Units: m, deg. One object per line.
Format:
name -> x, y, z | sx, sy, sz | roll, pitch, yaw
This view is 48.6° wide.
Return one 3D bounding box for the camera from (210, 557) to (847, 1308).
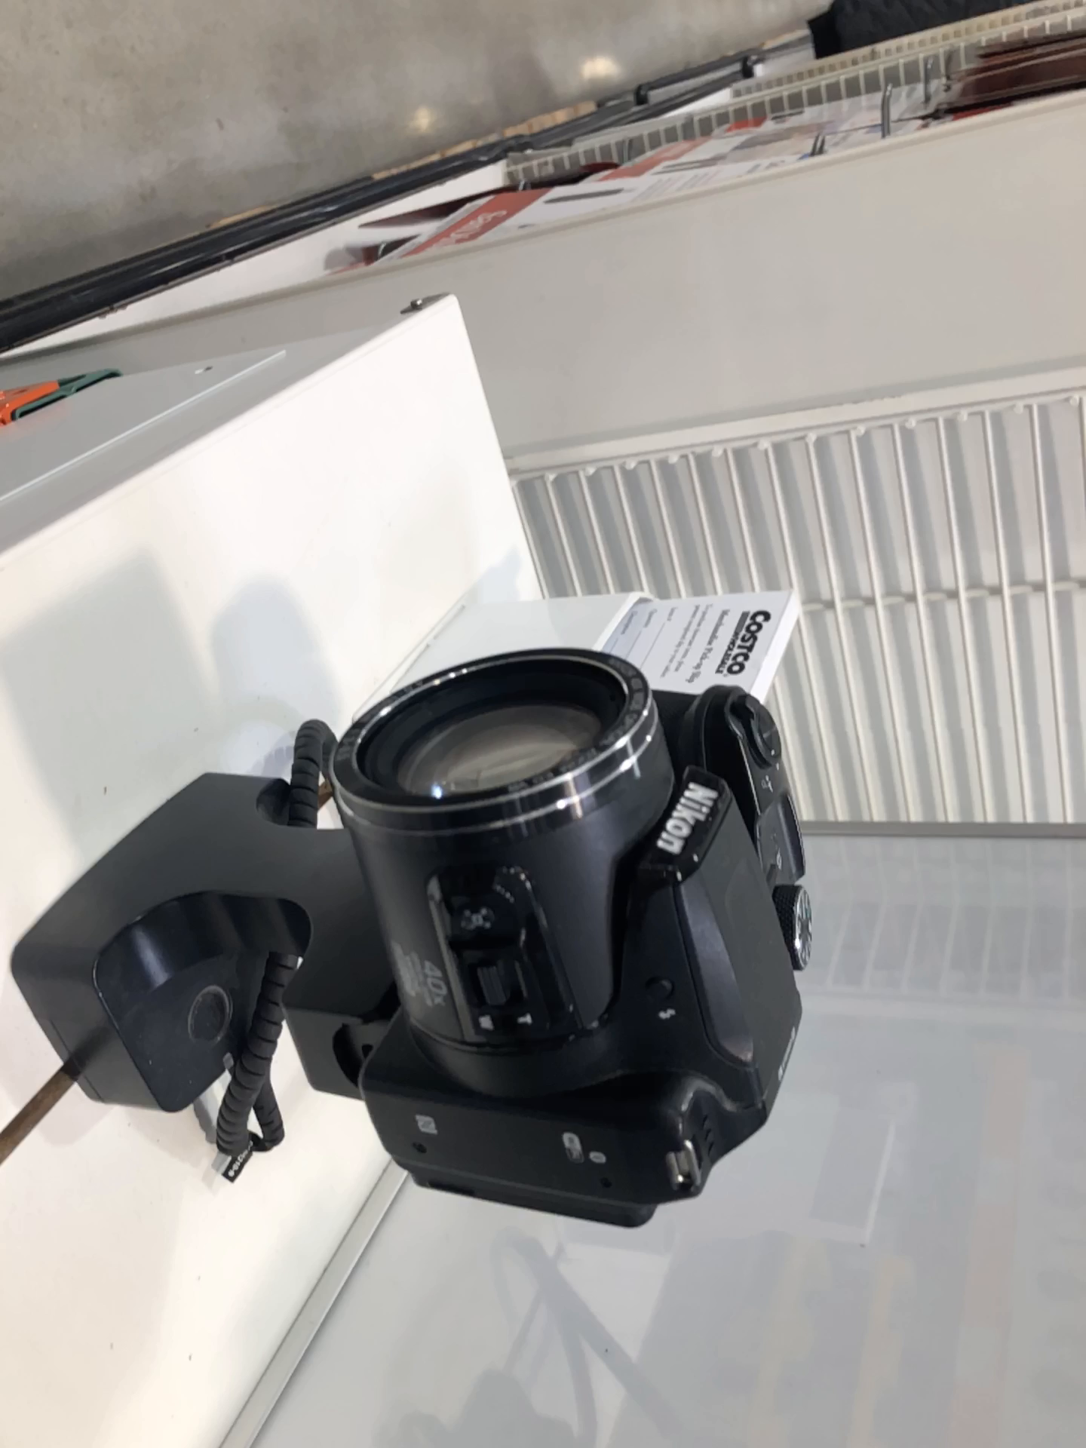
camera -> 0.010, 0.038, 0.265 | 0.116, 0.079, 0.101 | -57, 138, -49
